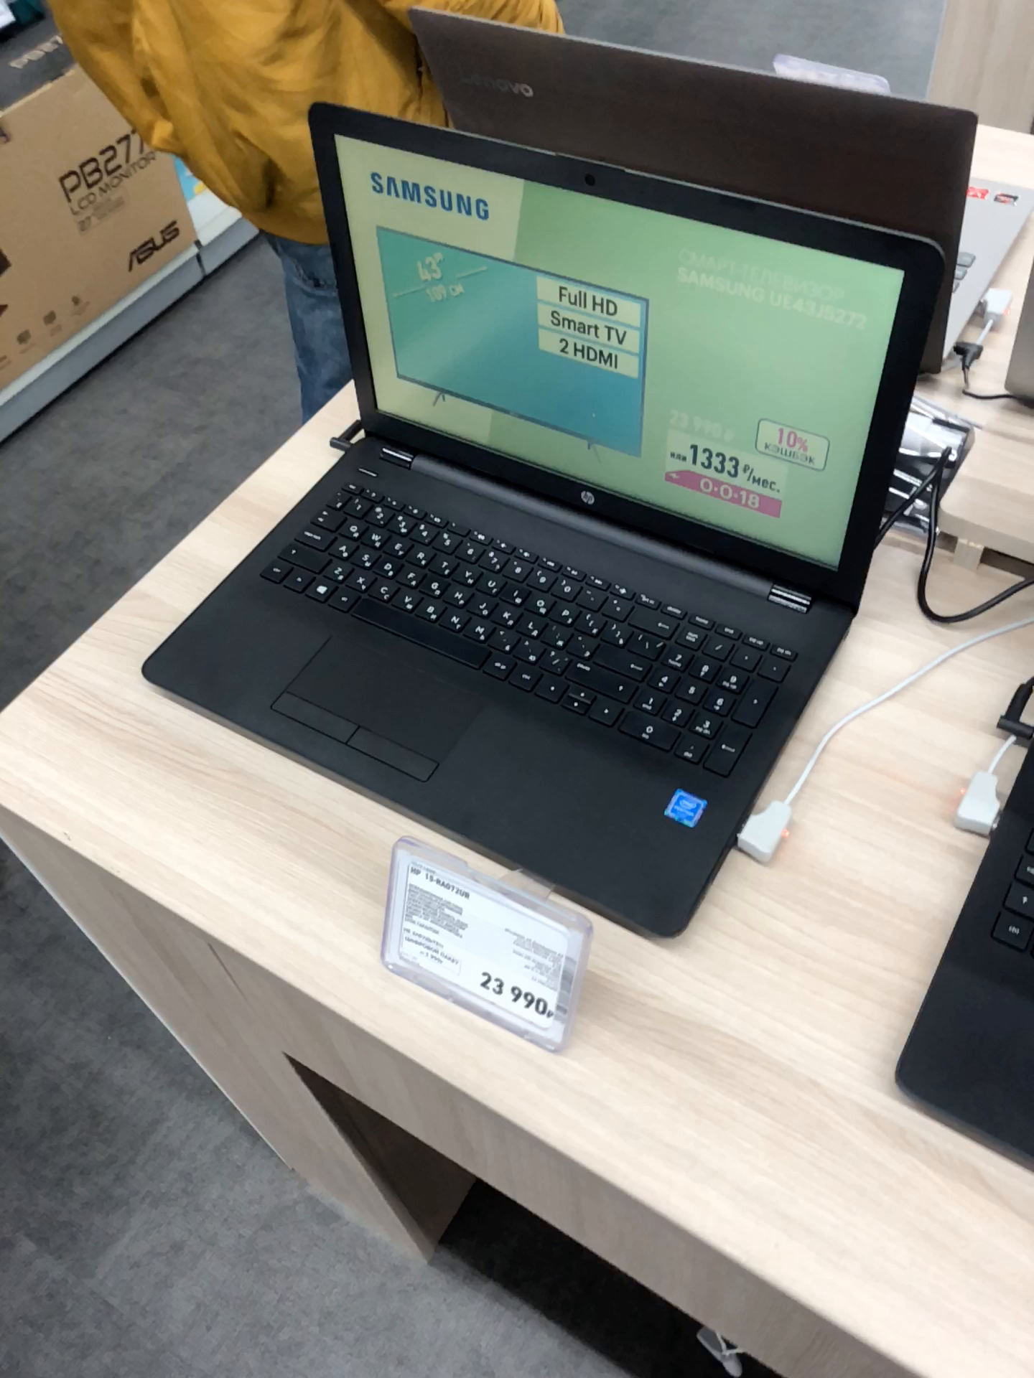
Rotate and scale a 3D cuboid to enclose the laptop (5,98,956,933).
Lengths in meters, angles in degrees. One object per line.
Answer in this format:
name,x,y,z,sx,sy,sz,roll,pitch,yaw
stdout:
laptop,-0.013,-0.112,0.617,0.362,0.222,0.274,24,58,22
